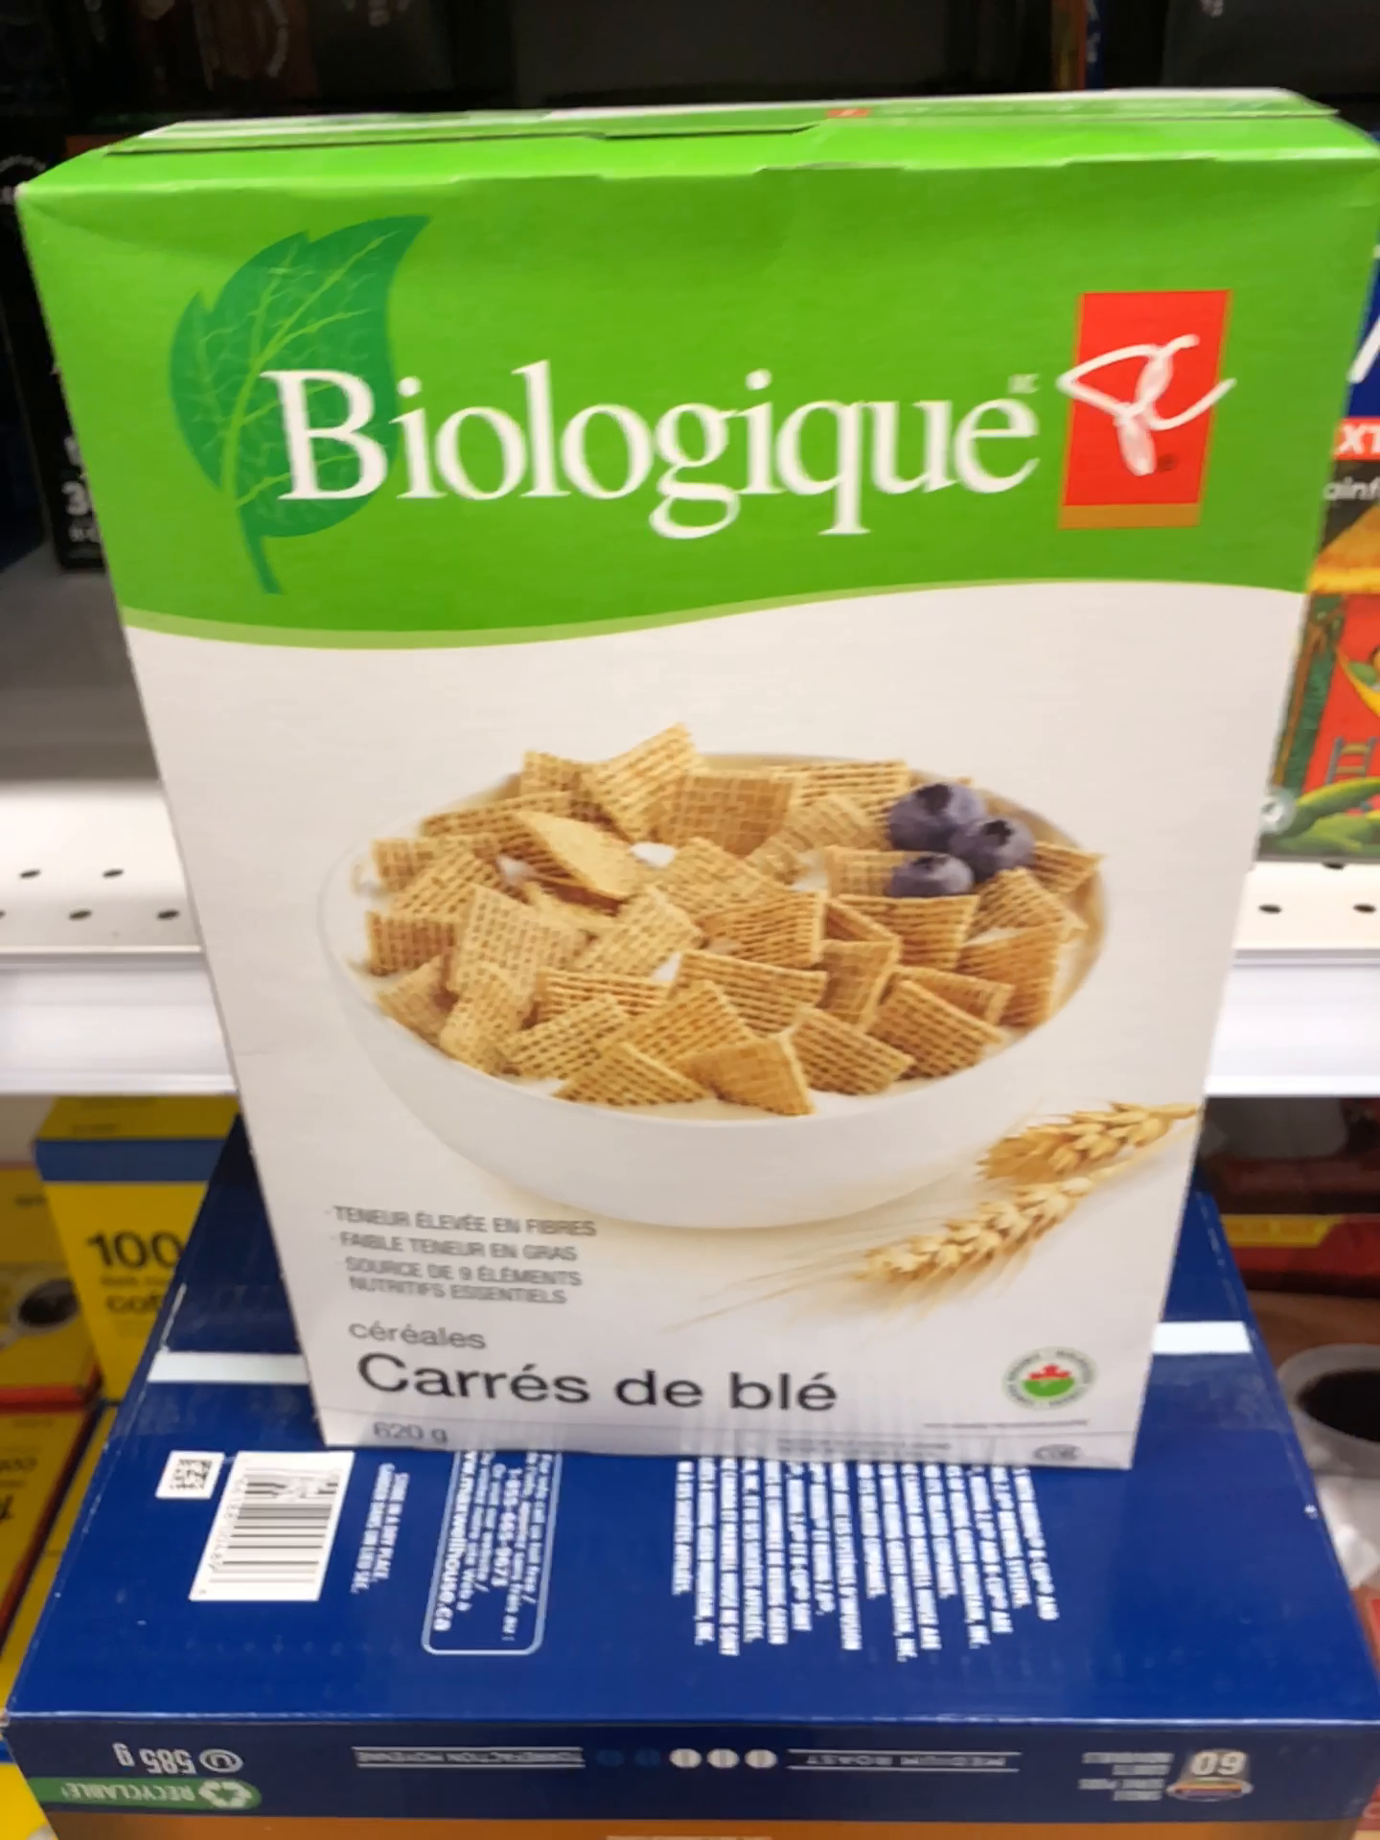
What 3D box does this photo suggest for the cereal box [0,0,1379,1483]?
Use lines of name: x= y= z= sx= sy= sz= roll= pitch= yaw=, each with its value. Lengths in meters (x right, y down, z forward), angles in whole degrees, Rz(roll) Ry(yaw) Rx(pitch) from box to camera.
cereal box: x=0.007 y=-0.011 z=0.306 sx=0.210 sy=0.289 sz=0.070 roll=1 pitch=35 yaw=4
